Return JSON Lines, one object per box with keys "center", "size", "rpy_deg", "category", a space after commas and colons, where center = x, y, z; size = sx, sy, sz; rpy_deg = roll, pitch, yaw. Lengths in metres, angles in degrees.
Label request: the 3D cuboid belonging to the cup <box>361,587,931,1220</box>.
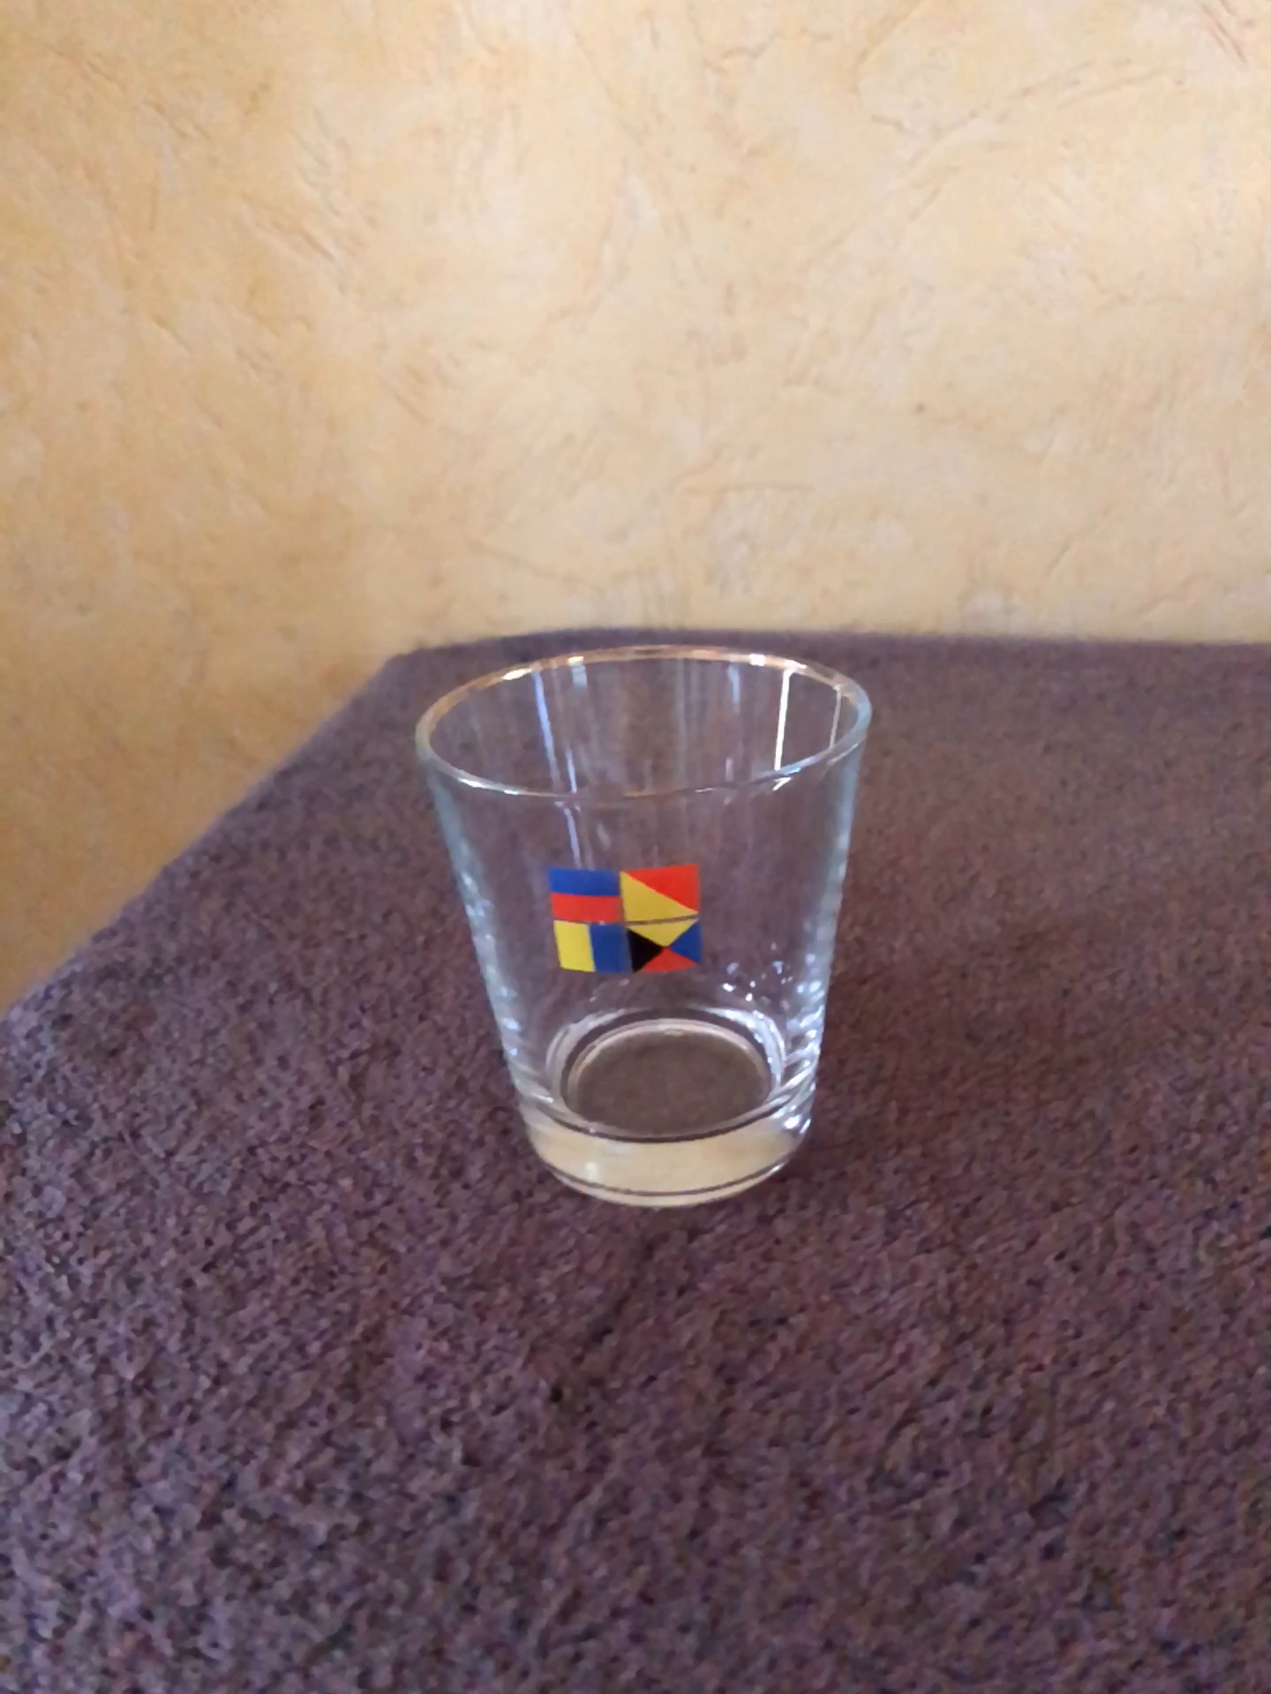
{"center": [0.005, 0.006, 0.251], "size": [0.080, 0.080, 0.080], "rpy_deg": [-4, 25, 2], "category": "cup"}
